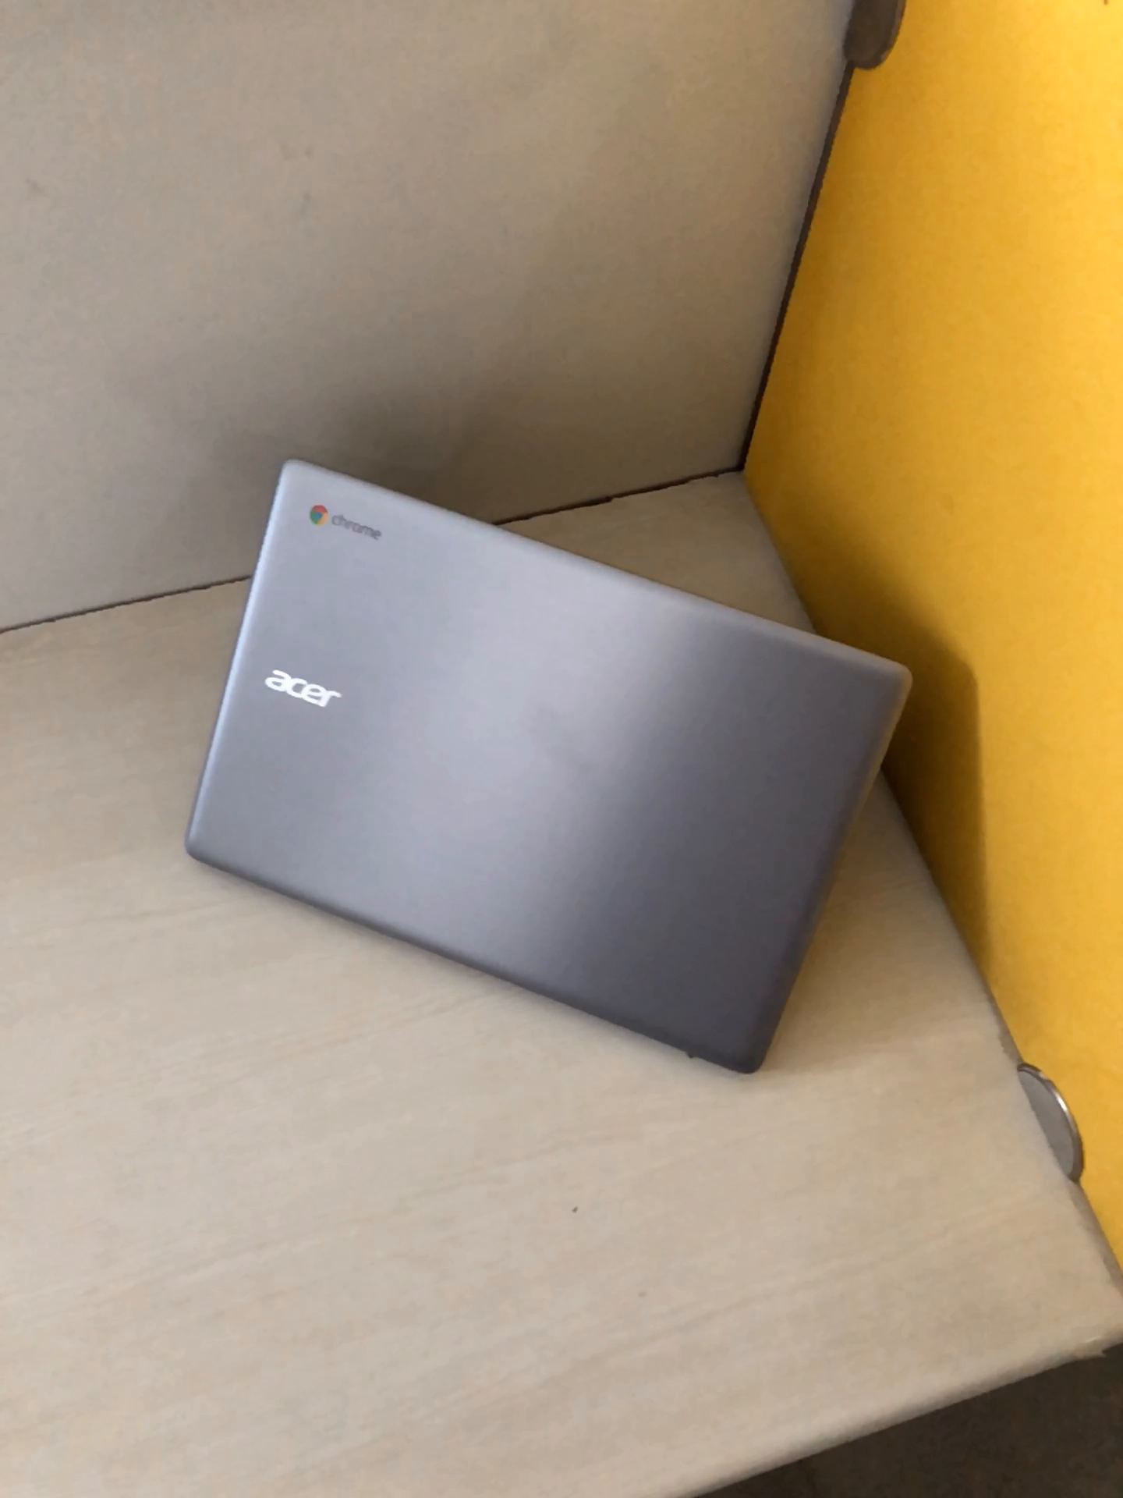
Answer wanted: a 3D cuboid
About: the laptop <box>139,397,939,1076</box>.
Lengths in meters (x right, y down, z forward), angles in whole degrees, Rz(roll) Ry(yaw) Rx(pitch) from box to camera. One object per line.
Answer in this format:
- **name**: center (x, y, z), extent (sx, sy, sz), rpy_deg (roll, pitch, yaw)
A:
- **laptop**: center (-0.005, -0.007, 0.639), extent (0.314, 0.135, 0.222), rpy_deg (20, 65, 6)
